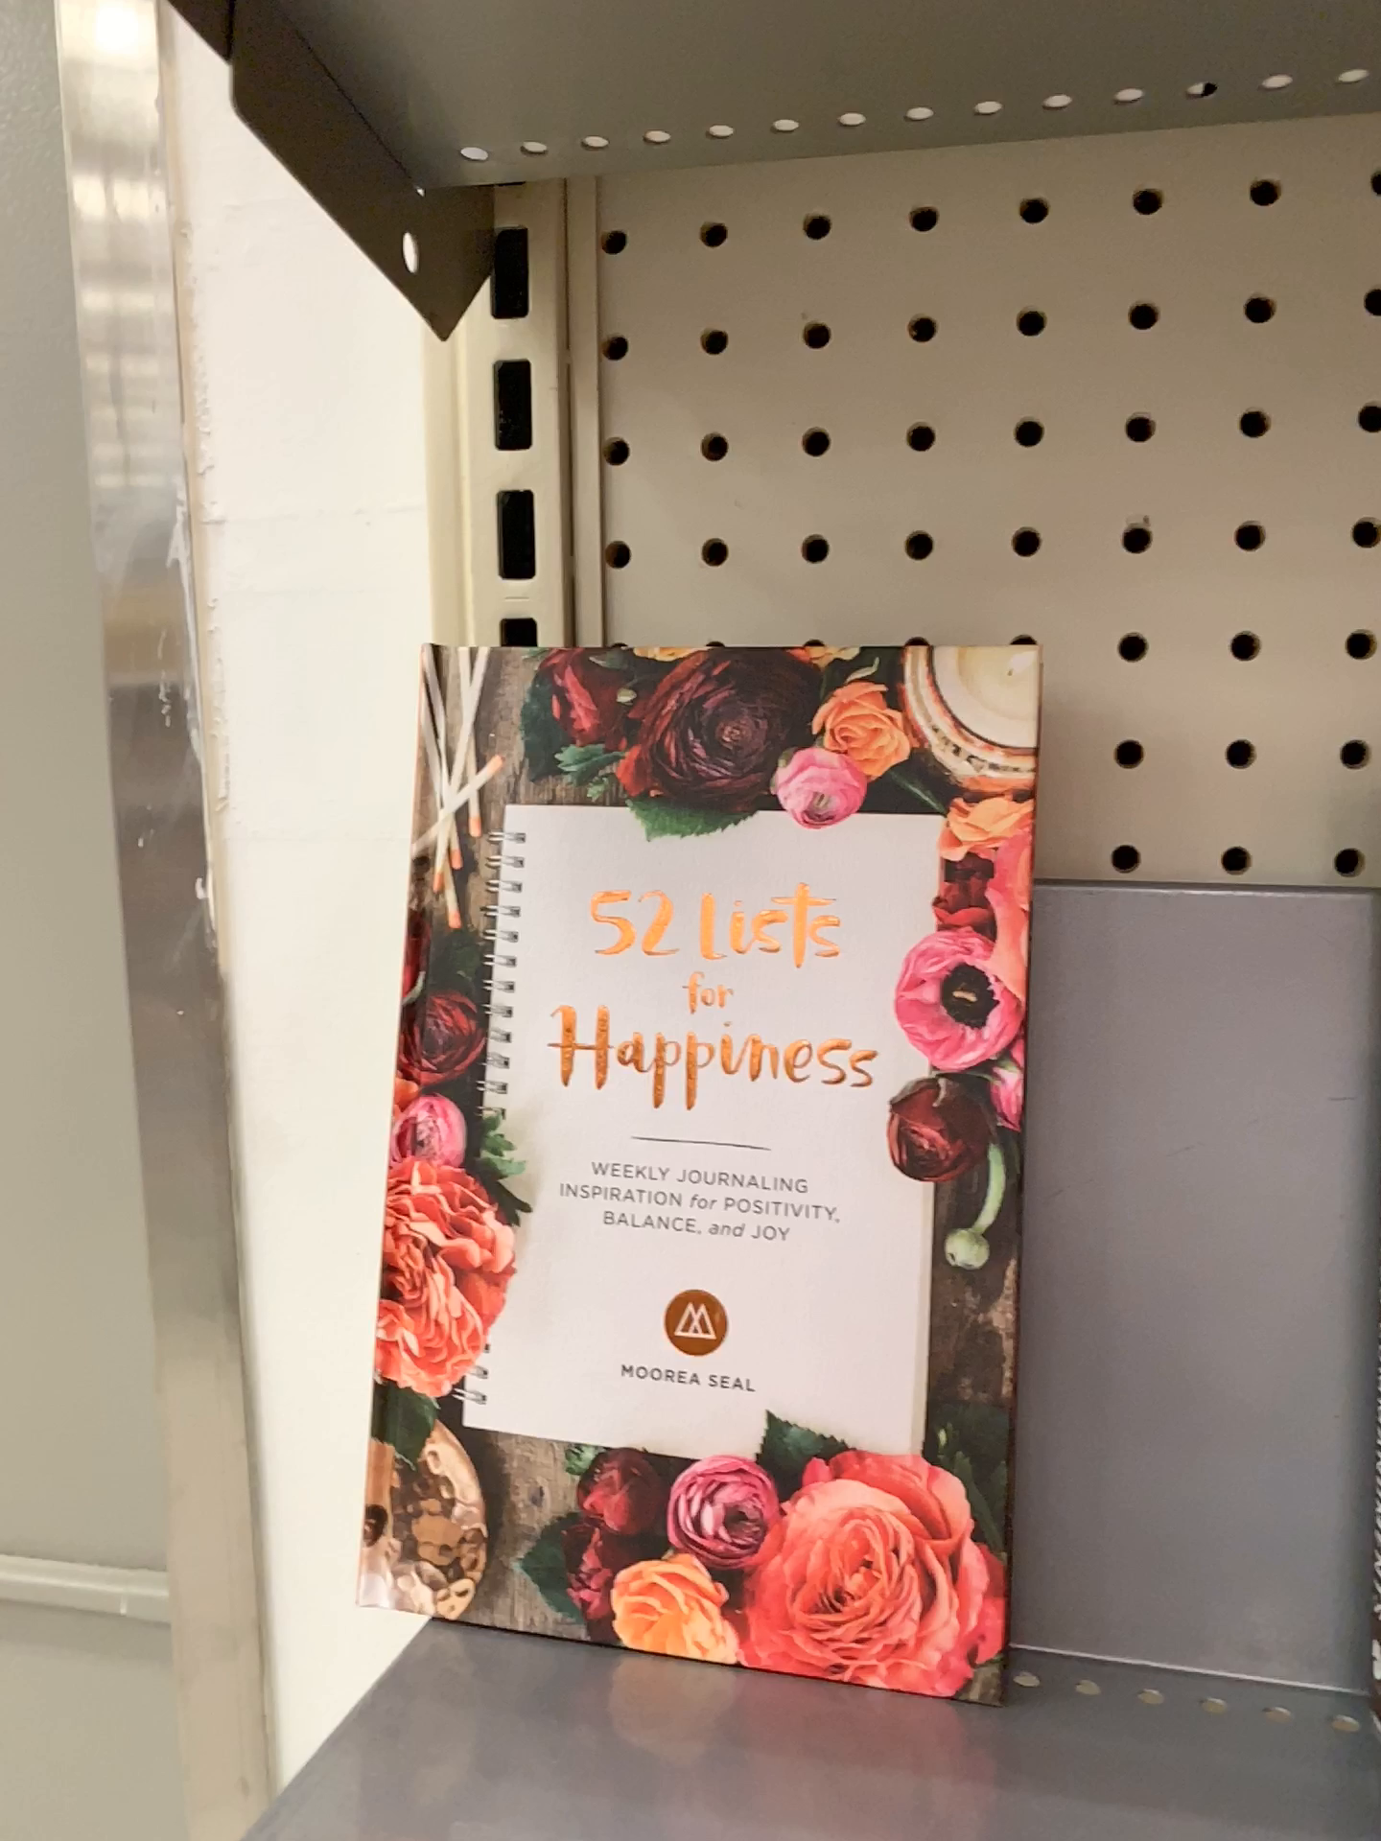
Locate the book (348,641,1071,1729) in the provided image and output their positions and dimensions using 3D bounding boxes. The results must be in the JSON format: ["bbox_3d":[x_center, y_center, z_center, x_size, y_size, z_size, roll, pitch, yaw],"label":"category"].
[{"bbox_3d":[0.004,0.049,0.314,0.150,0.217,0.020,1,-4,14],"label":"book"}]
